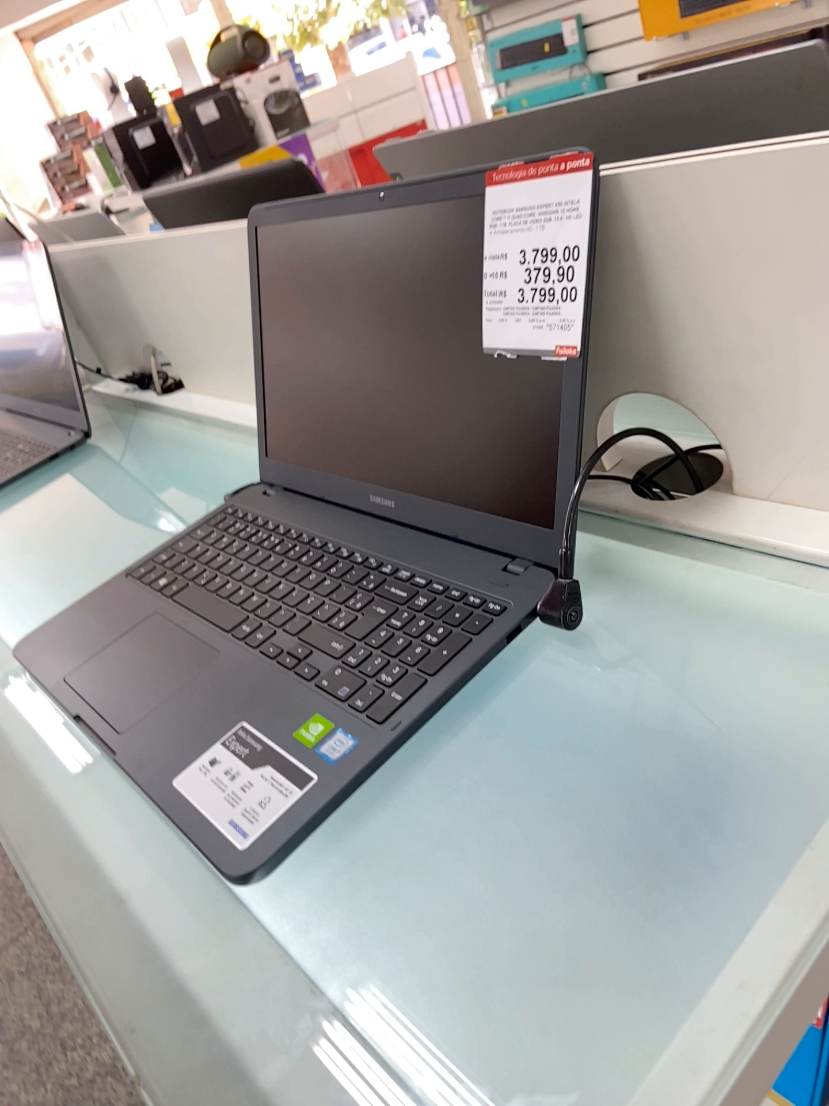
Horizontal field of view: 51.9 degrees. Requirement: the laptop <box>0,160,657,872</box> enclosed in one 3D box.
[{"bbox_3d":[-0.112,-0.068,0.560,0.342,0.208,0.364,-39,34,-26],"label":"laptop"}]
